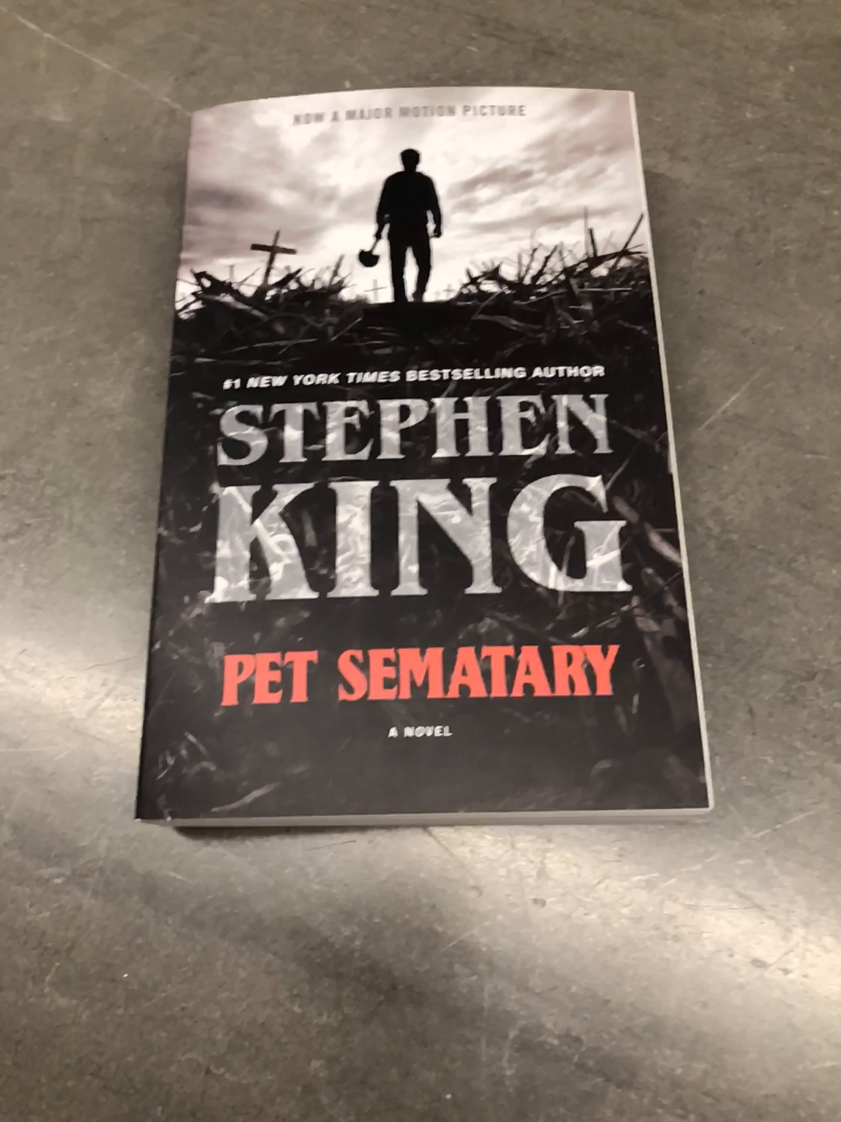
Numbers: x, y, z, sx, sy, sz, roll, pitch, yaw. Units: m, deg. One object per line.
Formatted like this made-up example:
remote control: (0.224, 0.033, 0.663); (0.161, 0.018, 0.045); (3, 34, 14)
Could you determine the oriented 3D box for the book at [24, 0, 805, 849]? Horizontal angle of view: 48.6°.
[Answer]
book: (-0.003, -0.044, 0.241); (0.160, 0.050, 0.220); (-1, 76, 1)
